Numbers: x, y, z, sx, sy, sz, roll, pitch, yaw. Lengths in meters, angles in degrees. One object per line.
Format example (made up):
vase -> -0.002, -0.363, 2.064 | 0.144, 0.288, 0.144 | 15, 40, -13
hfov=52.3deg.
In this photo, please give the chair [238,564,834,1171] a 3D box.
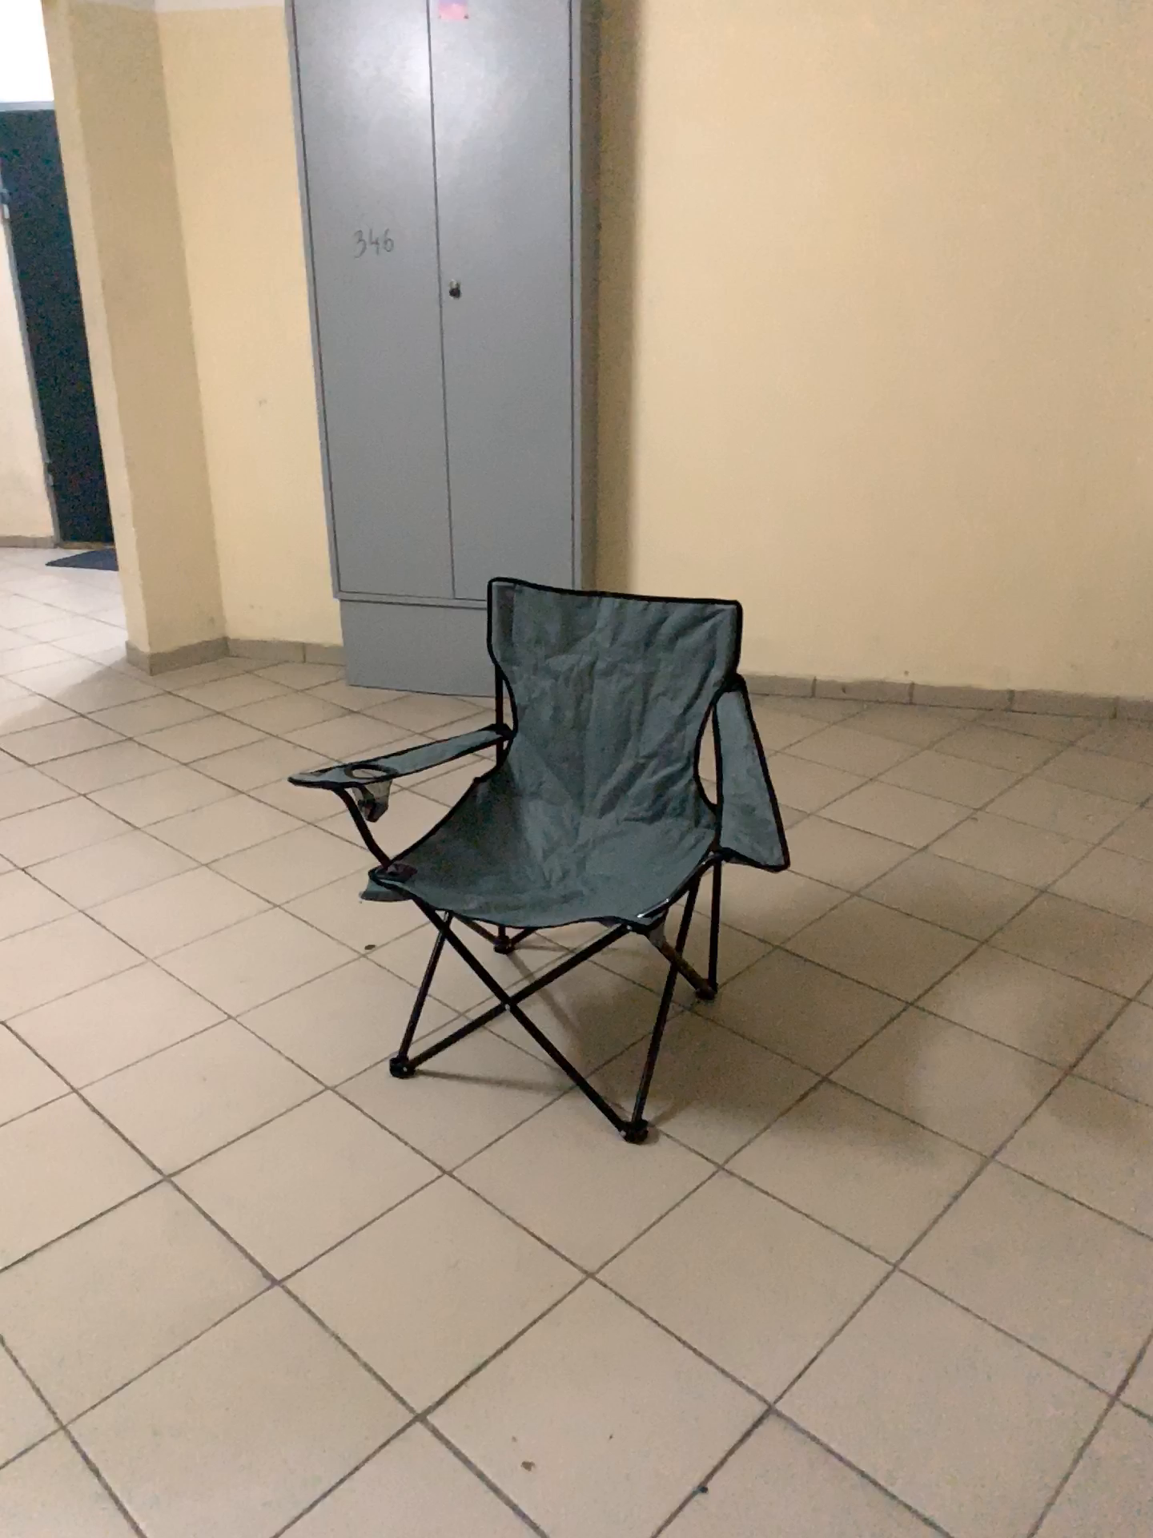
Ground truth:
chair -> -0.031, 0.109, 2.009 | 0.801, 0.757, 0.562 | 7, 23, 18
